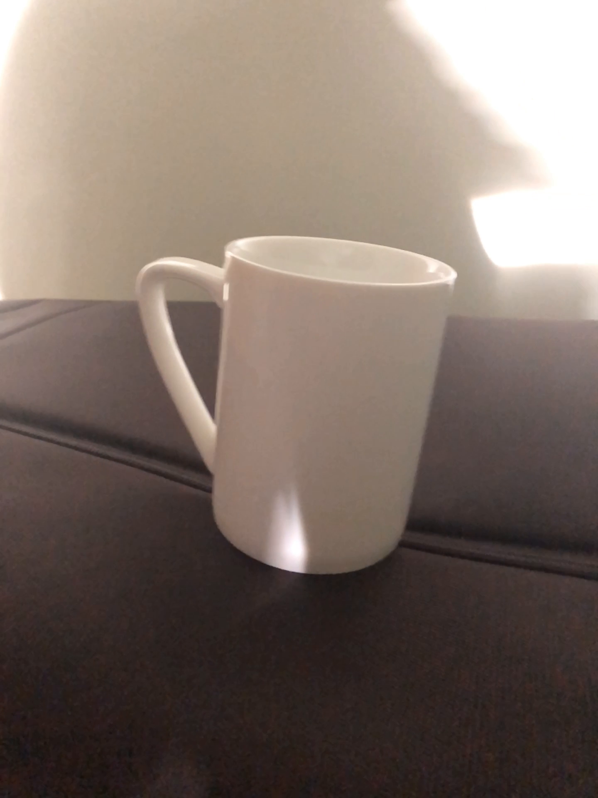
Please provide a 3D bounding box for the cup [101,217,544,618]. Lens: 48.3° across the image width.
[{"bbox_3d":[0.006,-0.009,0.233,0.109,0.090,0.097,21,24,32],"label":"cup"}]
